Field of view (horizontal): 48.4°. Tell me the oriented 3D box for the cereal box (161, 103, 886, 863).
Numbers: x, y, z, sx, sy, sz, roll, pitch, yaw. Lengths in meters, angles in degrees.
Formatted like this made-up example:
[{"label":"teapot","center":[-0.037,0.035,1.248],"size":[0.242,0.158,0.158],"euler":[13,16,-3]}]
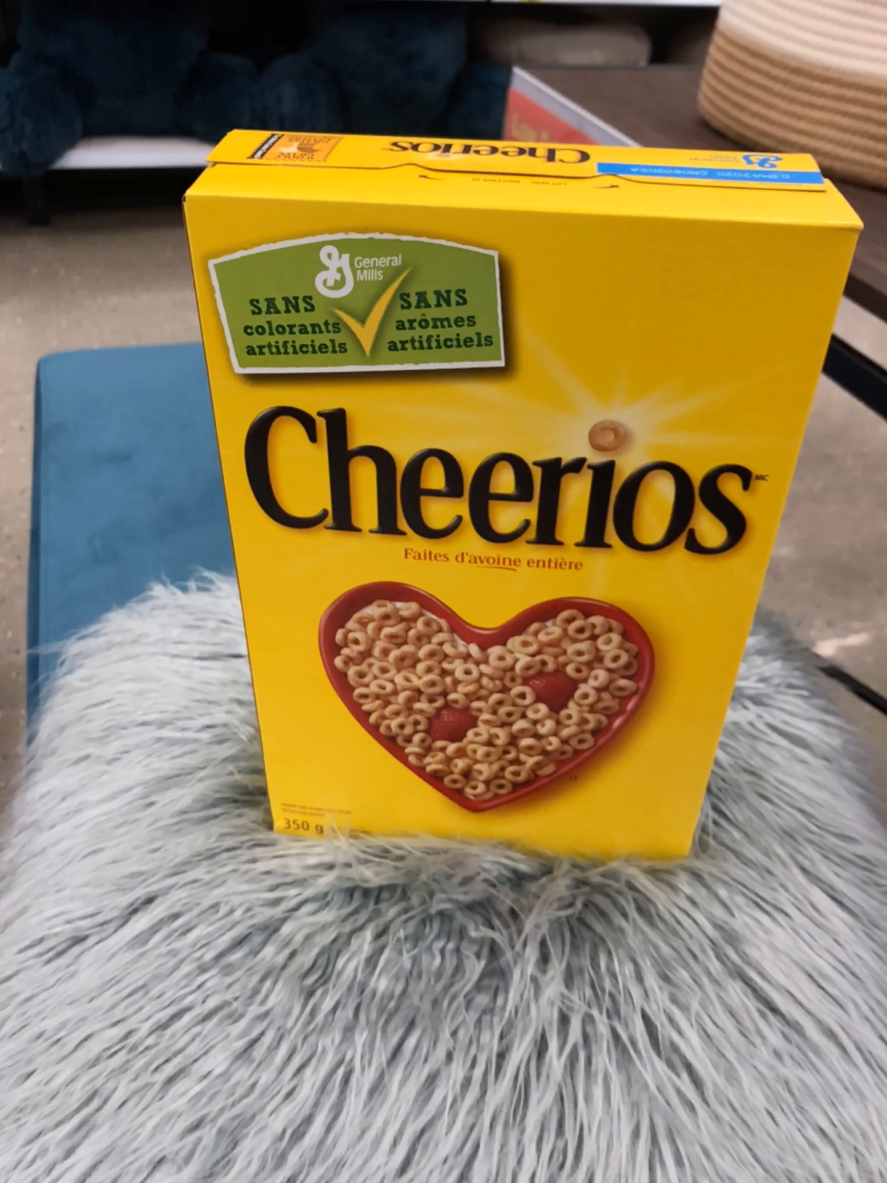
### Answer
[{"label":"cereal box","center":[0.017,-0.021,0.397],"size":[0.210,0.289,0.080],"euler":[4,38,-1]}]
